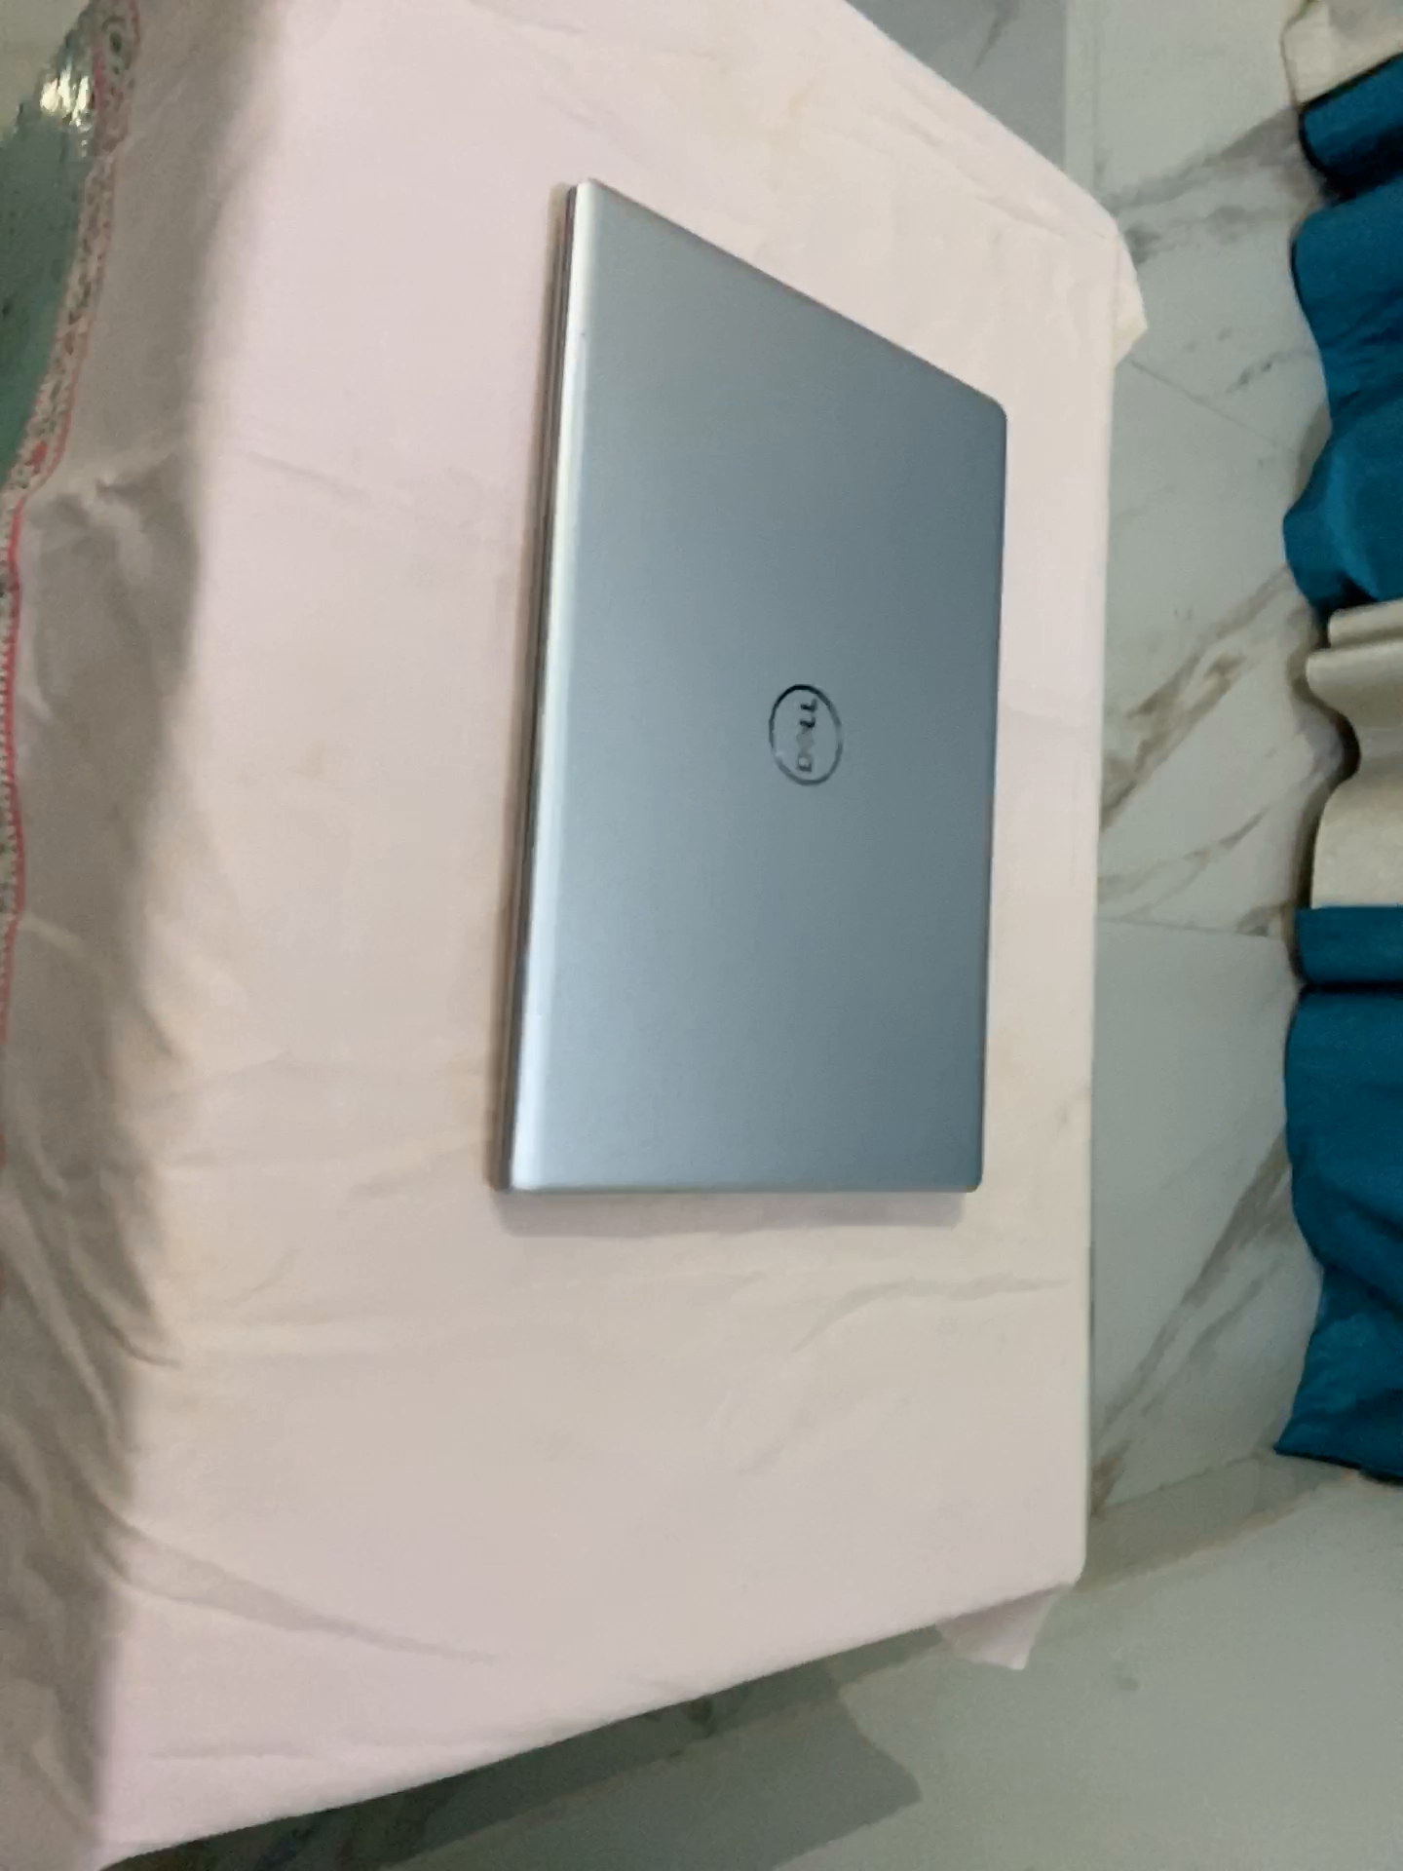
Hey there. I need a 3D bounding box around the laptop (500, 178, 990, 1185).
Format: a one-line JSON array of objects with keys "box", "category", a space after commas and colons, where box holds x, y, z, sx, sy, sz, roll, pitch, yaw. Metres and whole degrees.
[{"box": [0.033, -0.082, 0.579, 0.237, 0.004, 0.359, 8, 83, -39], "category": "laptop"}]
